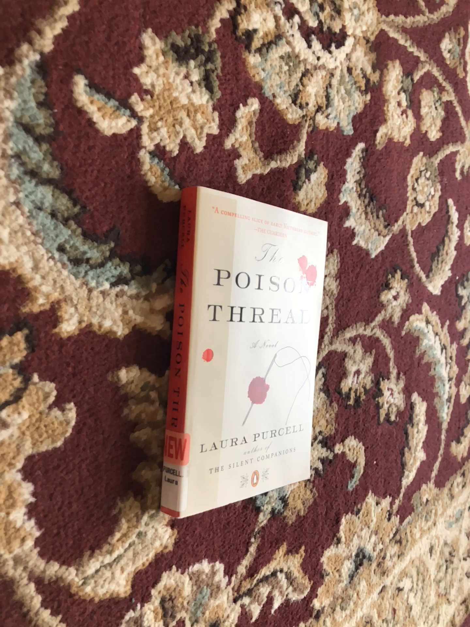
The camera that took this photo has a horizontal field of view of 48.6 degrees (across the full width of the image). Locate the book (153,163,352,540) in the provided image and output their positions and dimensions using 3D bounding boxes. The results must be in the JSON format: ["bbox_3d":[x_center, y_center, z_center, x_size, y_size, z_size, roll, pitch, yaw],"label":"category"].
[{"bbox_3d":[0.018,0.022,0.336,0.141,0.030,0.200,2,92,-45],"label":"book"}]
